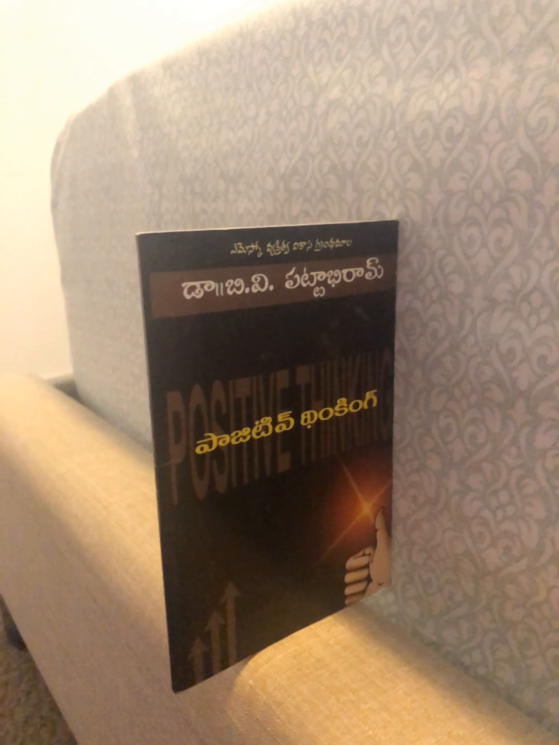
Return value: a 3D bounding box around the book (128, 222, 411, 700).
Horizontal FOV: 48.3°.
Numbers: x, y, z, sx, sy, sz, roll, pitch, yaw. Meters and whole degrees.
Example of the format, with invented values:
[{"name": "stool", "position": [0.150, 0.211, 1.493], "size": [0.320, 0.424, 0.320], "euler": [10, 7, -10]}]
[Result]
[{"name": "book", "position": [0.004, 0.028, 0.259], "size": [0.127, 0.175, 0.011], "euler": [-11, 16, -37]}]
